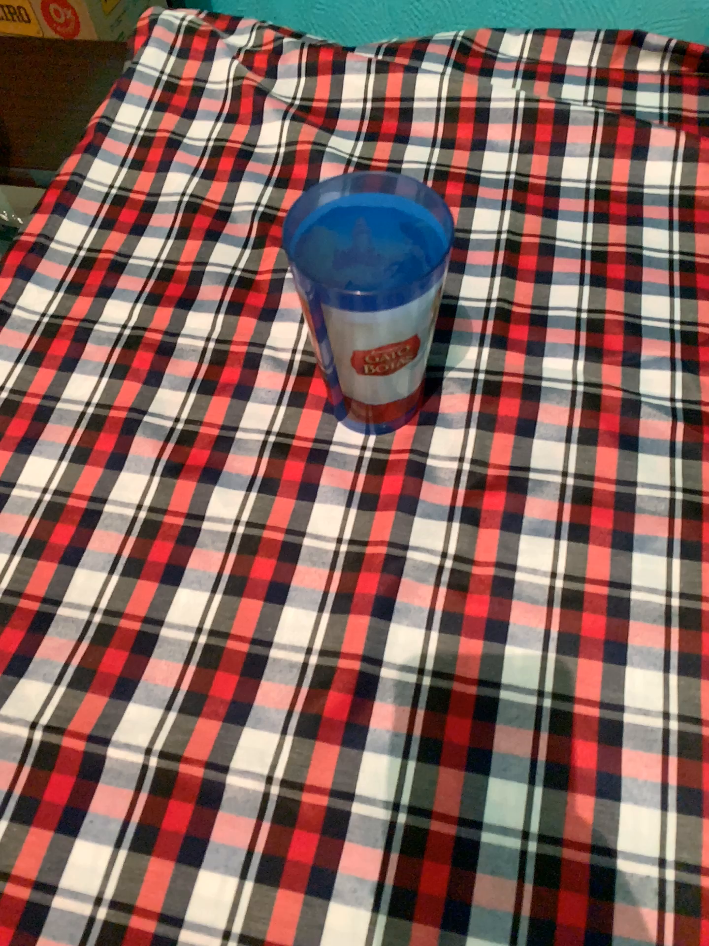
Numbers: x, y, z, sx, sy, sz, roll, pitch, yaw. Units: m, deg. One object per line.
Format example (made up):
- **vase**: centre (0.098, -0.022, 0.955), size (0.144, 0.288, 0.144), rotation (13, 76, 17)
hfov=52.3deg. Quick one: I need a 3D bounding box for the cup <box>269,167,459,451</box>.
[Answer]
- **cup**: centre (0.006, -0.088, 0.420), size (0.090, 0.130, 0.090), rotation (-2, 60, 3)
